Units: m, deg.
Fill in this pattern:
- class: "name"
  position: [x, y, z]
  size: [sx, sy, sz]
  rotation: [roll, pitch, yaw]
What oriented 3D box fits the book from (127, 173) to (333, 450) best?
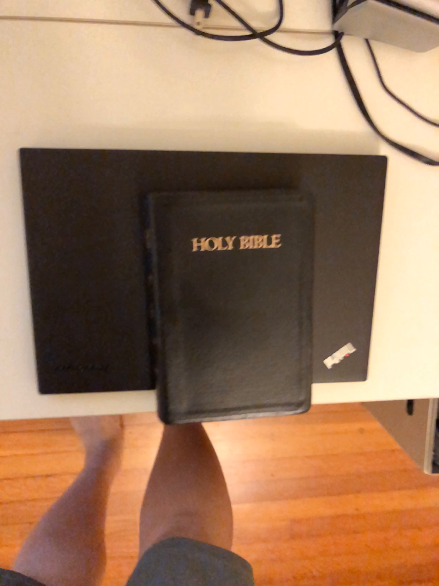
- class: "book"
  position: [0.011, 0.017, 0.444]
  size: [0.170, 0.040, 0.240]
  rotation: [-3, 103, -7]
